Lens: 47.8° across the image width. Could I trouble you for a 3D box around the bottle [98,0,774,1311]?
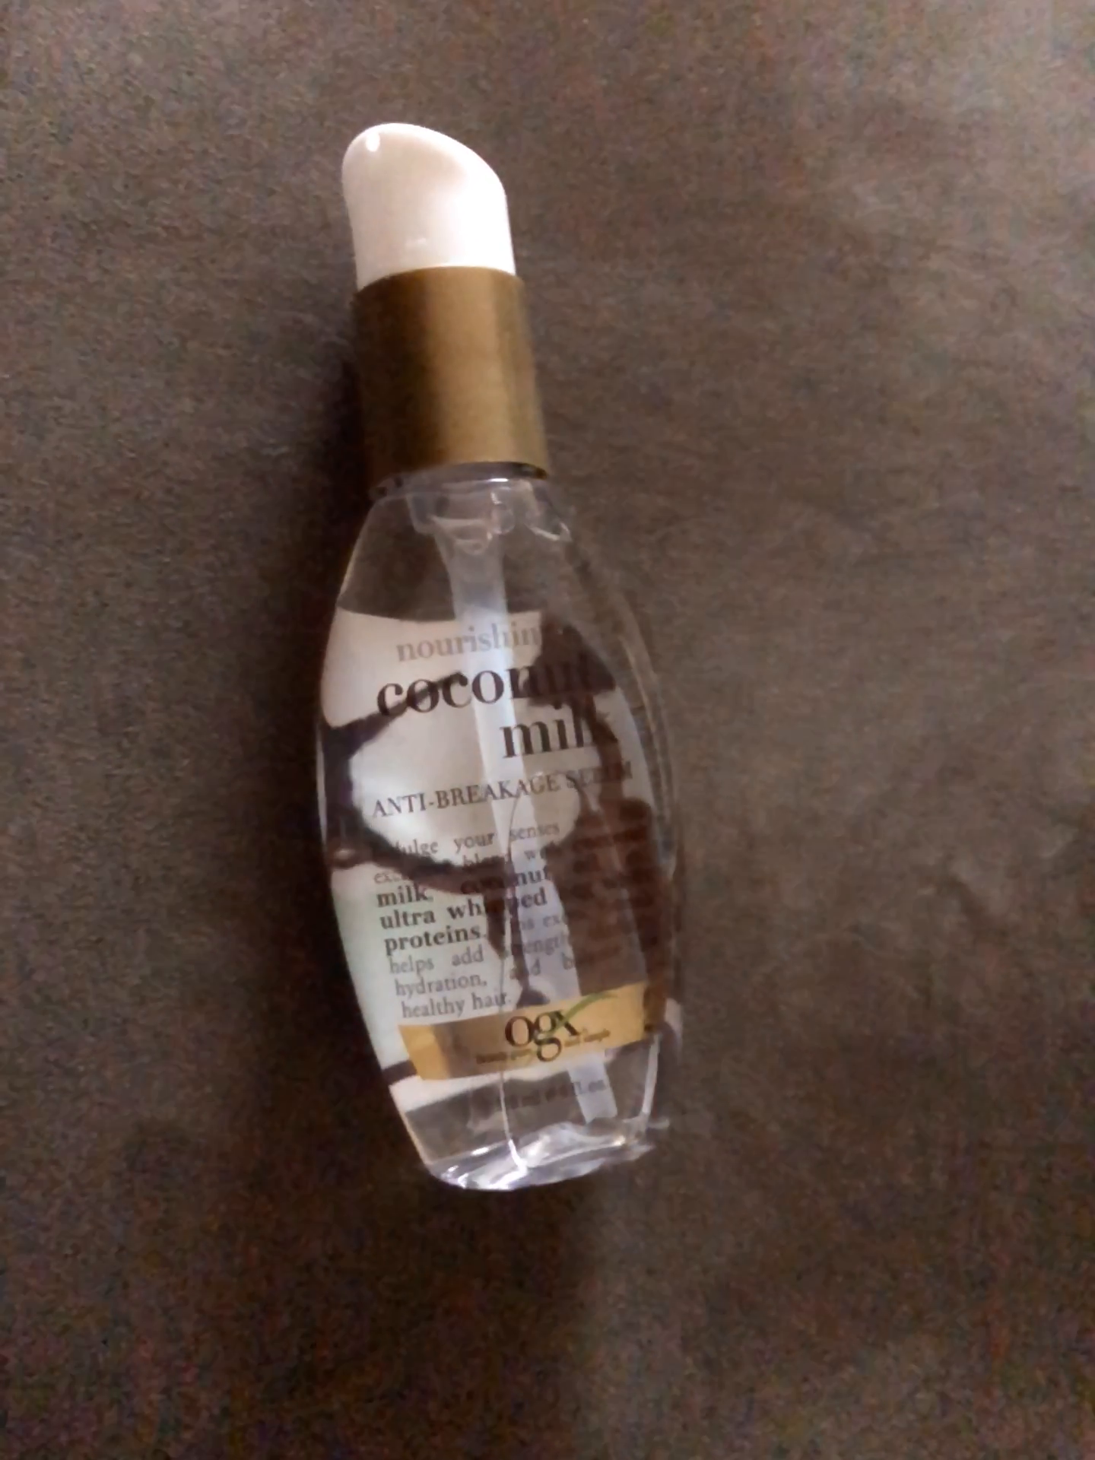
[{"bbox_3d":[-0.018,-0.015,0.184,0.070,0.040,0.170,-8,91,-20],"label":"bottle"}]
